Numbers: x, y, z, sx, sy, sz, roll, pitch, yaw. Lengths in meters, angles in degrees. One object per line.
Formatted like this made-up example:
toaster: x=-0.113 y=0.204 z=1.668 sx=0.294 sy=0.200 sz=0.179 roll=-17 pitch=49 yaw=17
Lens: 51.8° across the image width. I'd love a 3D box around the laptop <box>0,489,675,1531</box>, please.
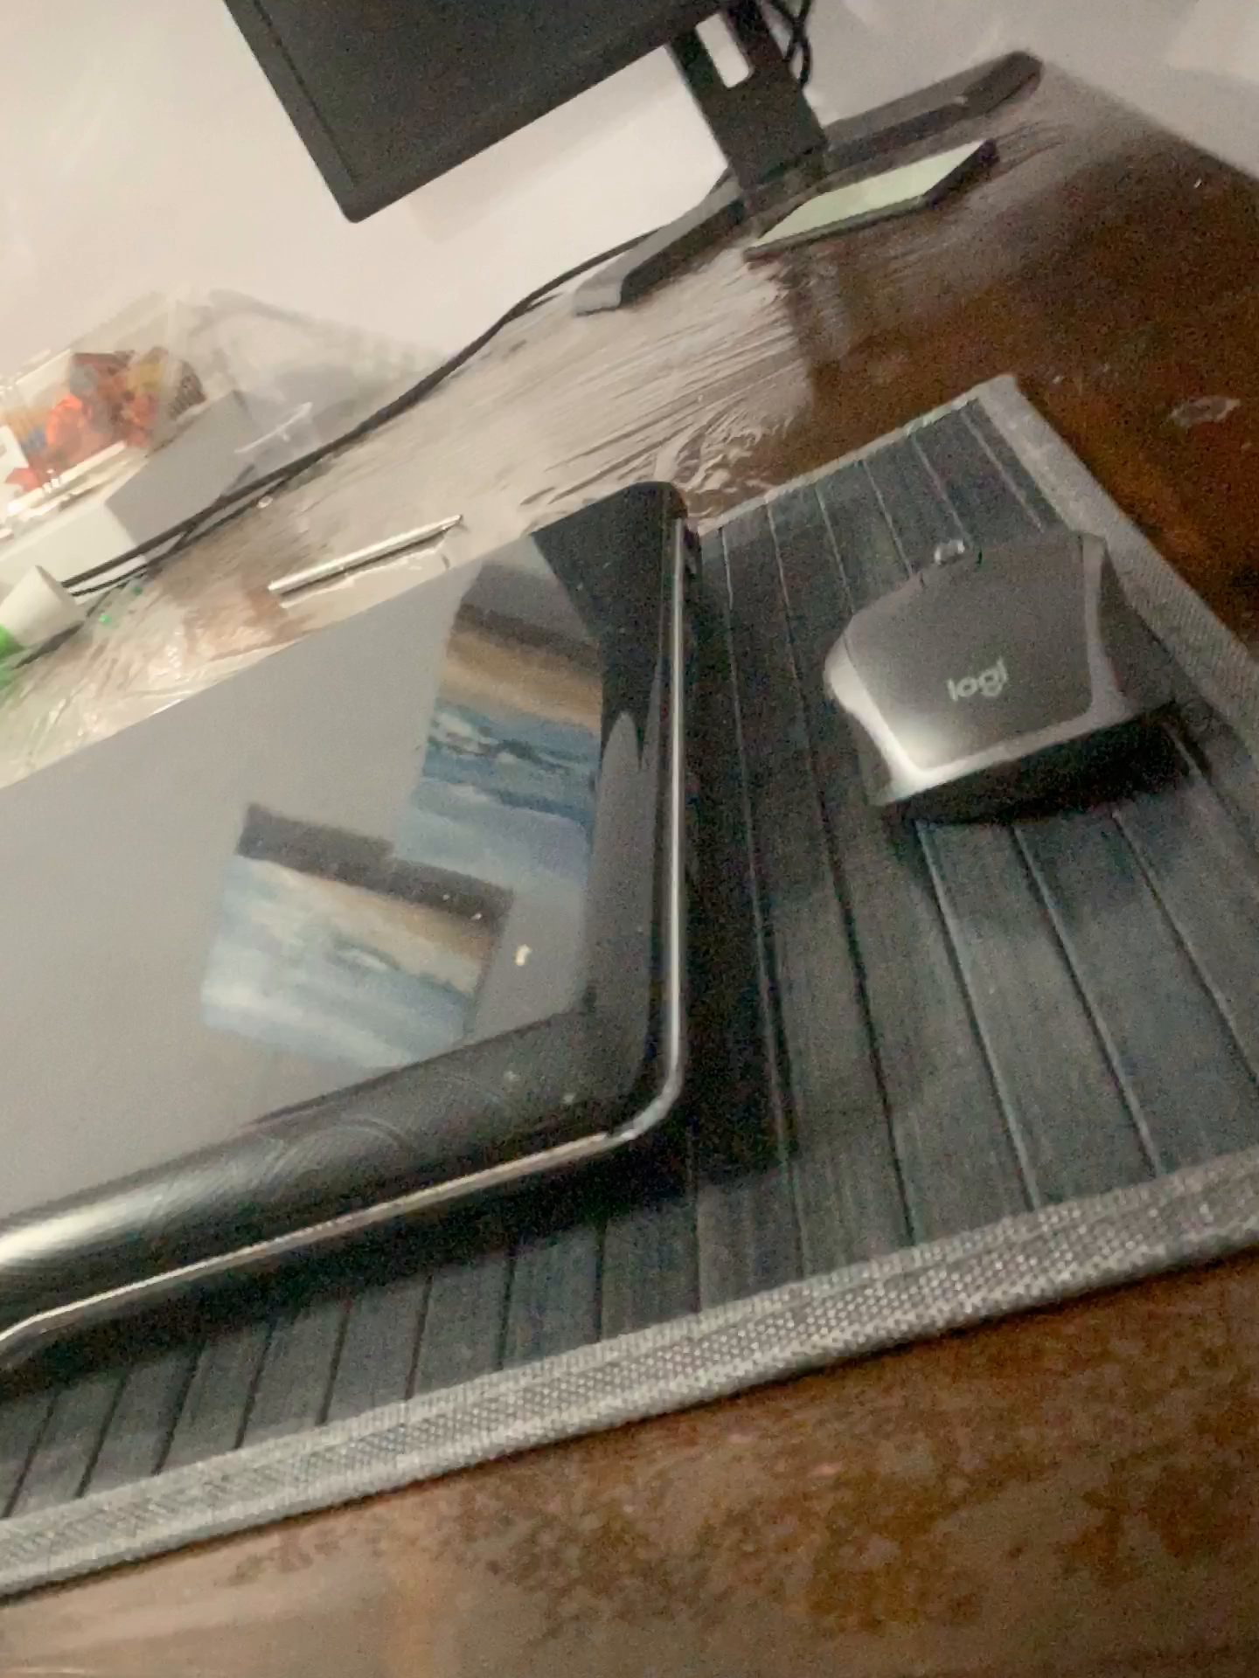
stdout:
laptop: x=-0.146 y=0.026 z=0.339 sx=0.339 sy=0.009 sz=0.232 roll=-20 pitch=33 yaw=15
